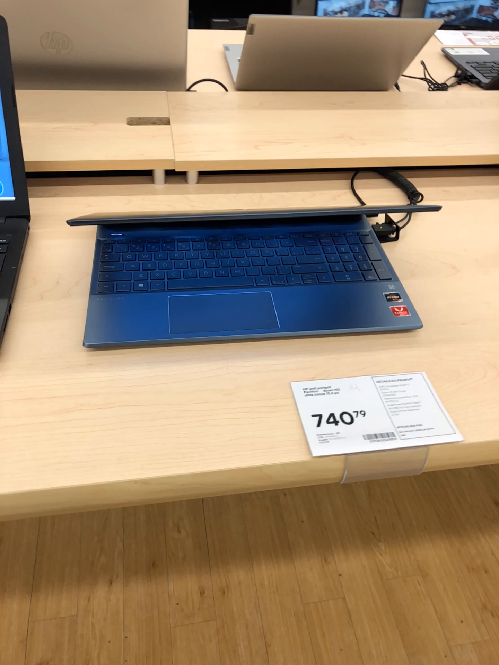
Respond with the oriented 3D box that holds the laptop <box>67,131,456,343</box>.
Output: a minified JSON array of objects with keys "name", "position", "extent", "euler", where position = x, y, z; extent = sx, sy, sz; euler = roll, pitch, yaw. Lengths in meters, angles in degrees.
[{"name":"laptop","position":[0.002,-0.116,0.600],"extent":[0.349,0.119,0.210],"euler":[-3,45,-8]}]
